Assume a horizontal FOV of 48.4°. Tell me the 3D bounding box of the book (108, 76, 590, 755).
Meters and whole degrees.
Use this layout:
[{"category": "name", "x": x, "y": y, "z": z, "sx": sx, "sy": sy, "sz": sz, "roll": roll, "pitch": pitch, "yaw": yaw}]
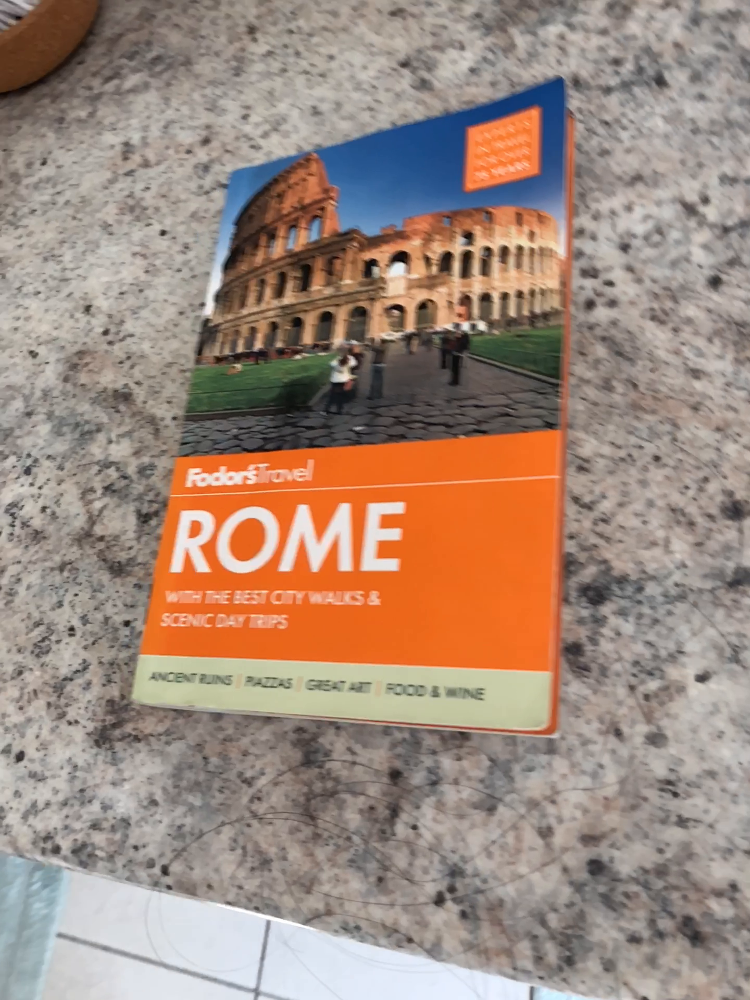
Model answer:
[{"category": "book", "x": -0.005, "y": -0.031, "z": 0.274, "sx": 0.139, "sy": 0.024, "sz": 0.207, "roll": -2, "pitch": 70, "yaw": 25}]
